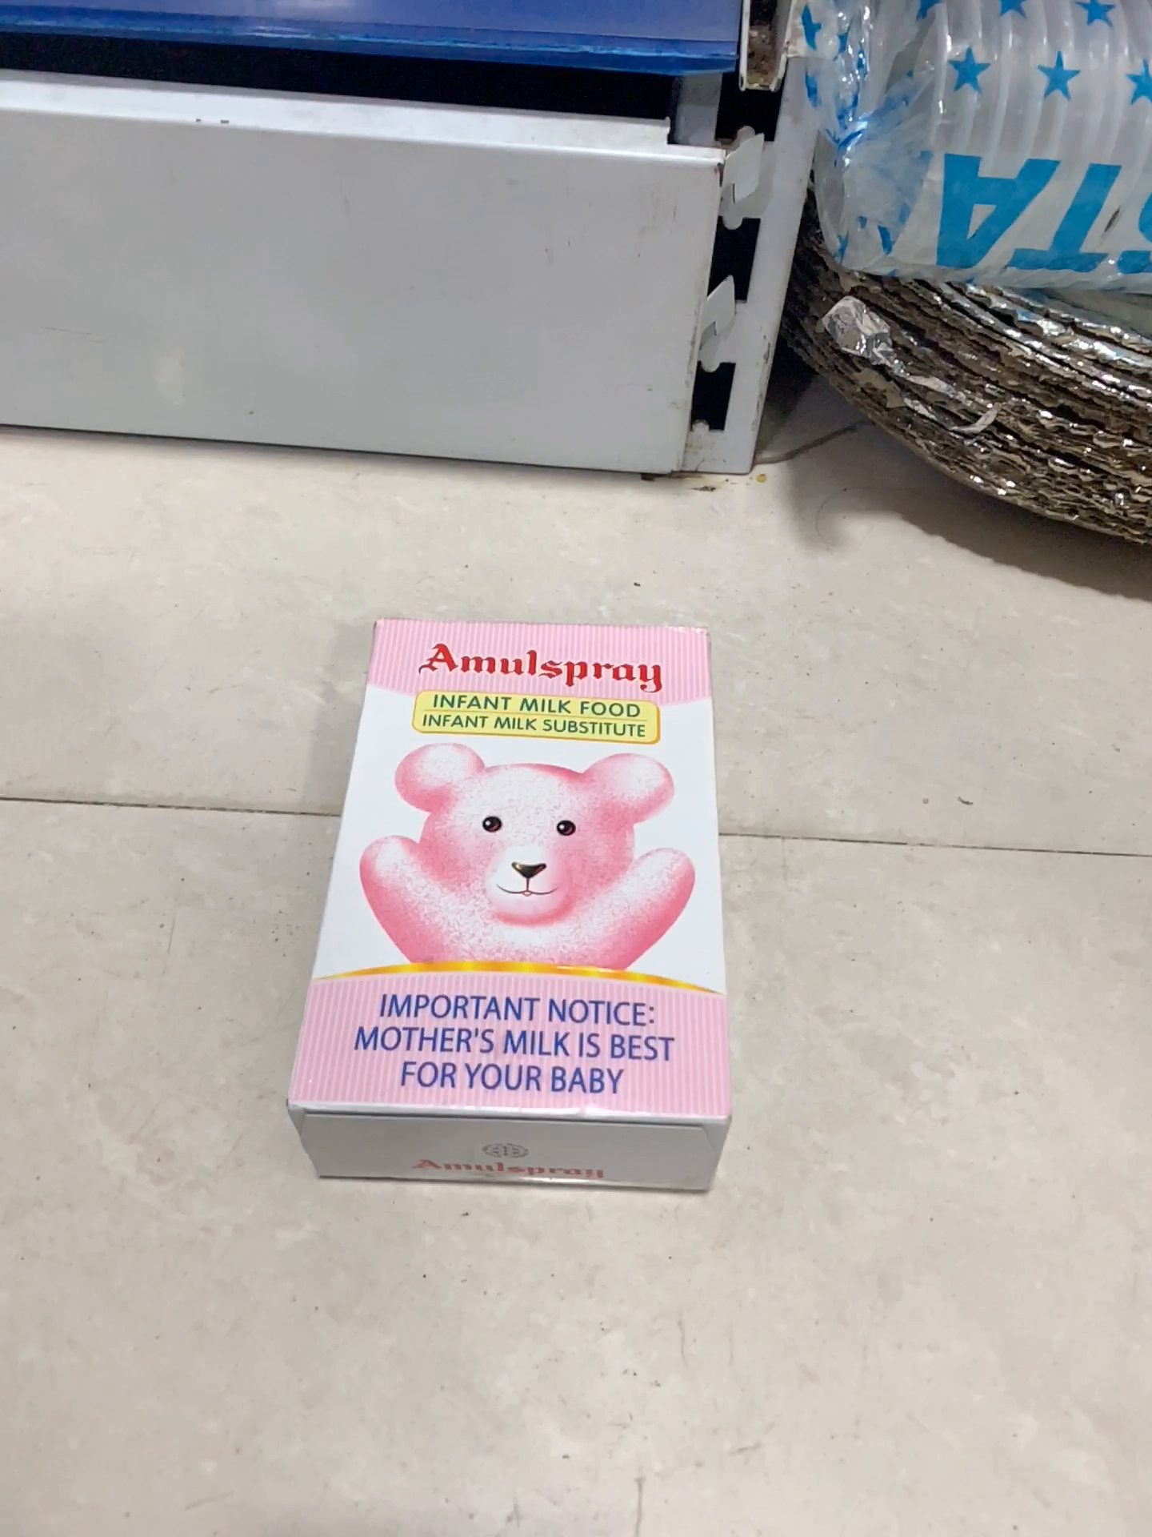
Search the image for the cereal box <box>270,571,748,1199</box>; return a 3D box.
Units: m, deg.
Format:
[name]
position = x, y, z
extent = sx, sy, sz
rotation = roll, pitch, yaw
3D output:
[cereal box]
position = -0.011, 0.022, 0.285
extent = 0.090, 0.050, 0.140
rotation = 3, 53, 0
